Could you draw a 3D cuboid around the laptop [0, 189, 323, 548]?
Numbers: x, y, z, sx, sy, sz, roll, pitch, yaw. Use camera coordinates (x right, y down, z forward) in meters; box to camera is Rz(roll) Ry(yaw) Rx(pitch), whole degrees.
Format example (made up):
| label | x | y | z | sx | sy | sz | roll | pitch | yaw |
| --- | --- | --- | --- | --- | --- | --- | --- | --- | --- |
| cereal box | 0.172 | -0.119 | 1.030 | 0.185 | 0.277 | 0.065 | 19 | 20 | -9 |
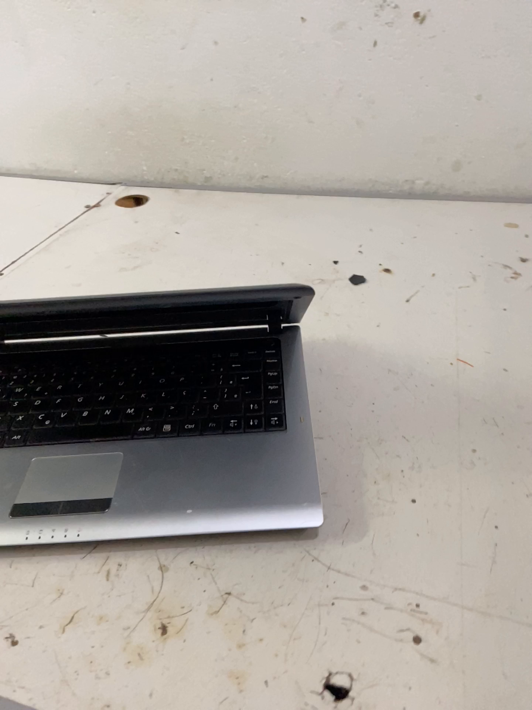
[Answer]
| label | x | y | z | sx | sy | sz | roll | pitch | yaw |
| --- | --- | --- | --- | --- | --- | --- | --- | --- | --- |
| laptop | -0.134 | -0.006 | 0.435 | 0.333 | 0.152 | 0.242 | -3 | 37 | 1 |
